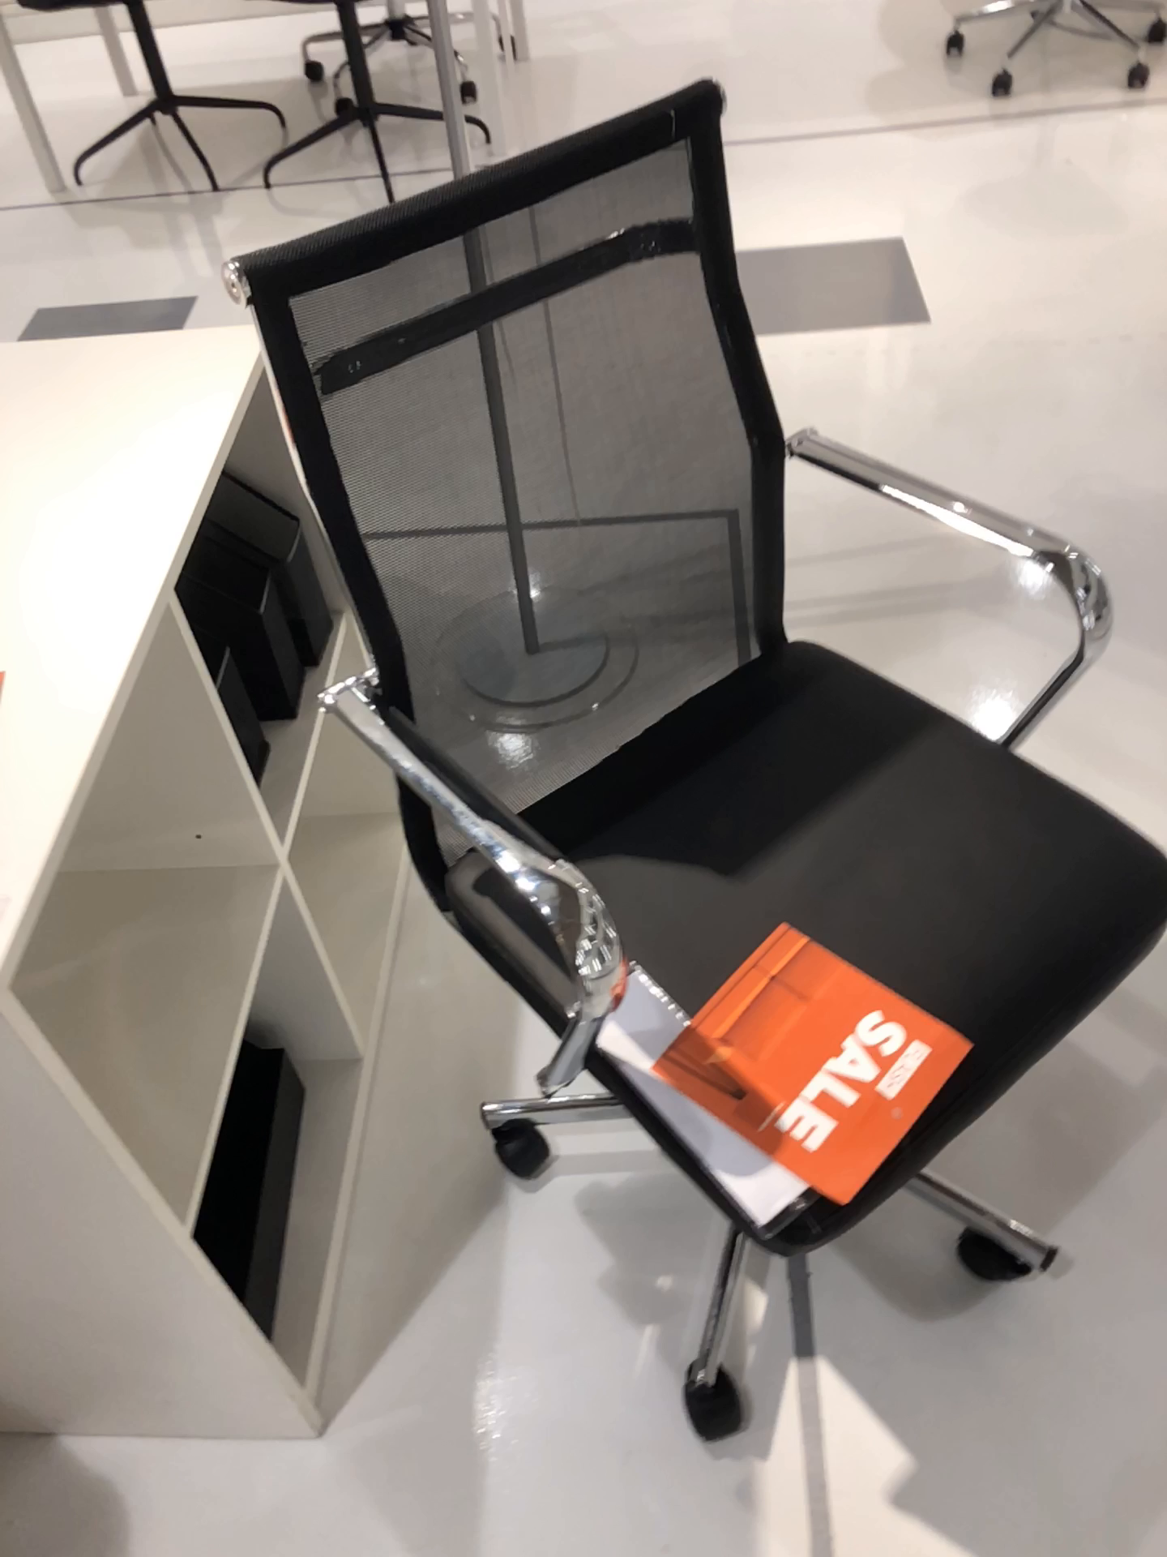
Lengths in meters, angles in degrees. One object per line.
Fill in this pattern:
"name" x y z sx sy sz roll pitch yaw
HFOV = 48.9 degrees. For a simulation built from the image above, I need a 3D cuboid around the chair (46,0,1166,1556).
"chair" 0.171 0.017 1.037 0.612 0.993 0.623 -34 51 -23
